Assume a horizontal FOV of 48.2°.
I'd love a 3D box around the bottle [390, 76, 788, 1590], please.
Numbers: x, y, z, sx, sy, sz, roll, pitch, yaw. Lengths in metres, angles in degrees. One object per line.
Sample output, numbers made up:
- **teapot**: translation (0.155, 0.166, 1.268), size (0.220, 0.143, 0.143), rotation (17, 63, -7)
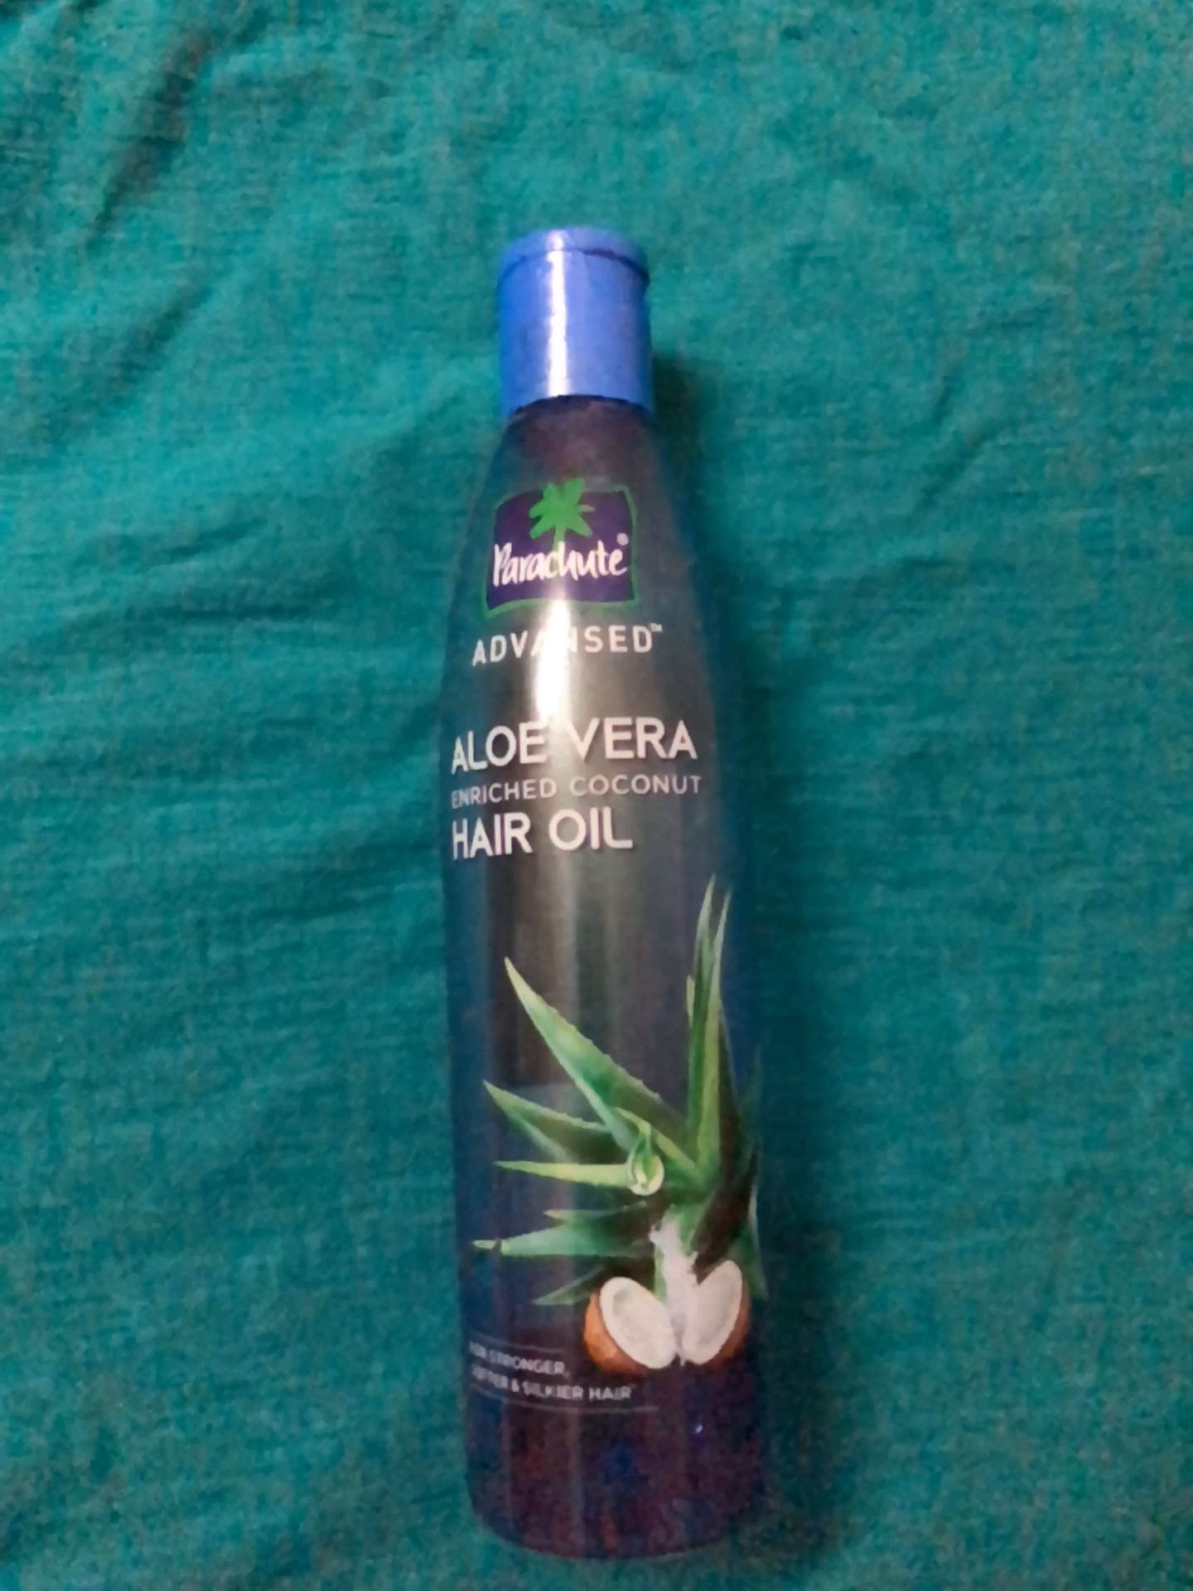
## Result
- **bottle**: translation (-0.001, 0.003, 0.202), size (0.050, 0.040, 0.210), rotation (-2, 83, 7)
